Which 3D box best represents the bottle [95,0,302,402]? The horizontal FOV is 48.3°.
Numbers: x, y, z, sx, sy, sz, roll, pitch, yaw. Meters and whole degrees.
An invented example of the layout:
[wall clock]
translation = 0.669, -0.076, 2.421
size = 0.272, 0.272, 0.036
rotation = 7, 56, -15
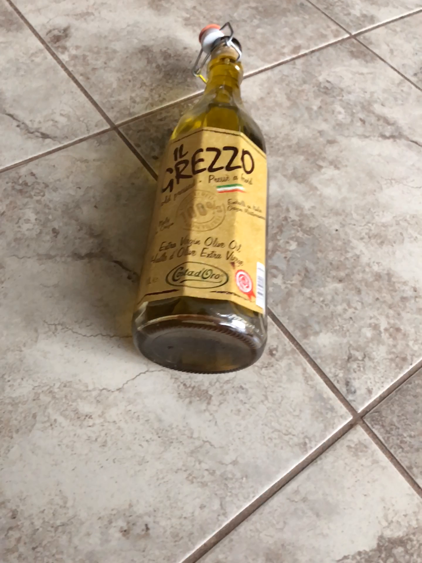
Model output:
[bottle]
translation = 0.007, -0.101, 0.360
size = 0.090, 0.100, 0.351
rotation = 10, 57, -2
